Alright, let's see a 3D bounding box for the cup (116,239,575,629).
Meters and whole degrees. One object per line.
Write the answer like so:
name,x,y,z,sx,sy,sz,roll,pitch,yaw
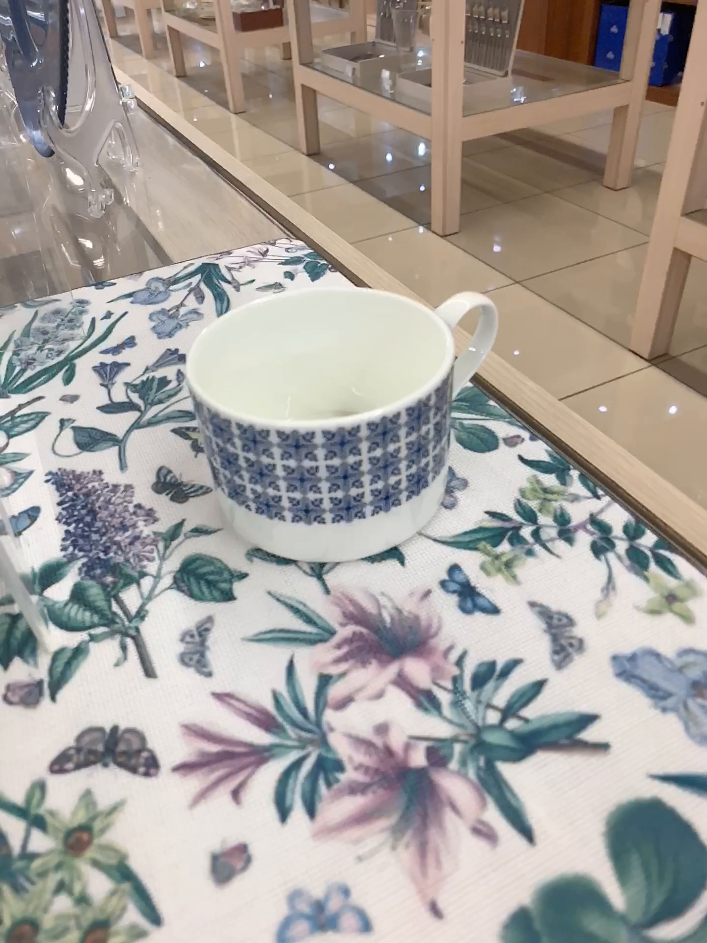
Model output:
cup,-0.001,-0.023,0.255,0.120,0.060,0.090,-30,46,-29
